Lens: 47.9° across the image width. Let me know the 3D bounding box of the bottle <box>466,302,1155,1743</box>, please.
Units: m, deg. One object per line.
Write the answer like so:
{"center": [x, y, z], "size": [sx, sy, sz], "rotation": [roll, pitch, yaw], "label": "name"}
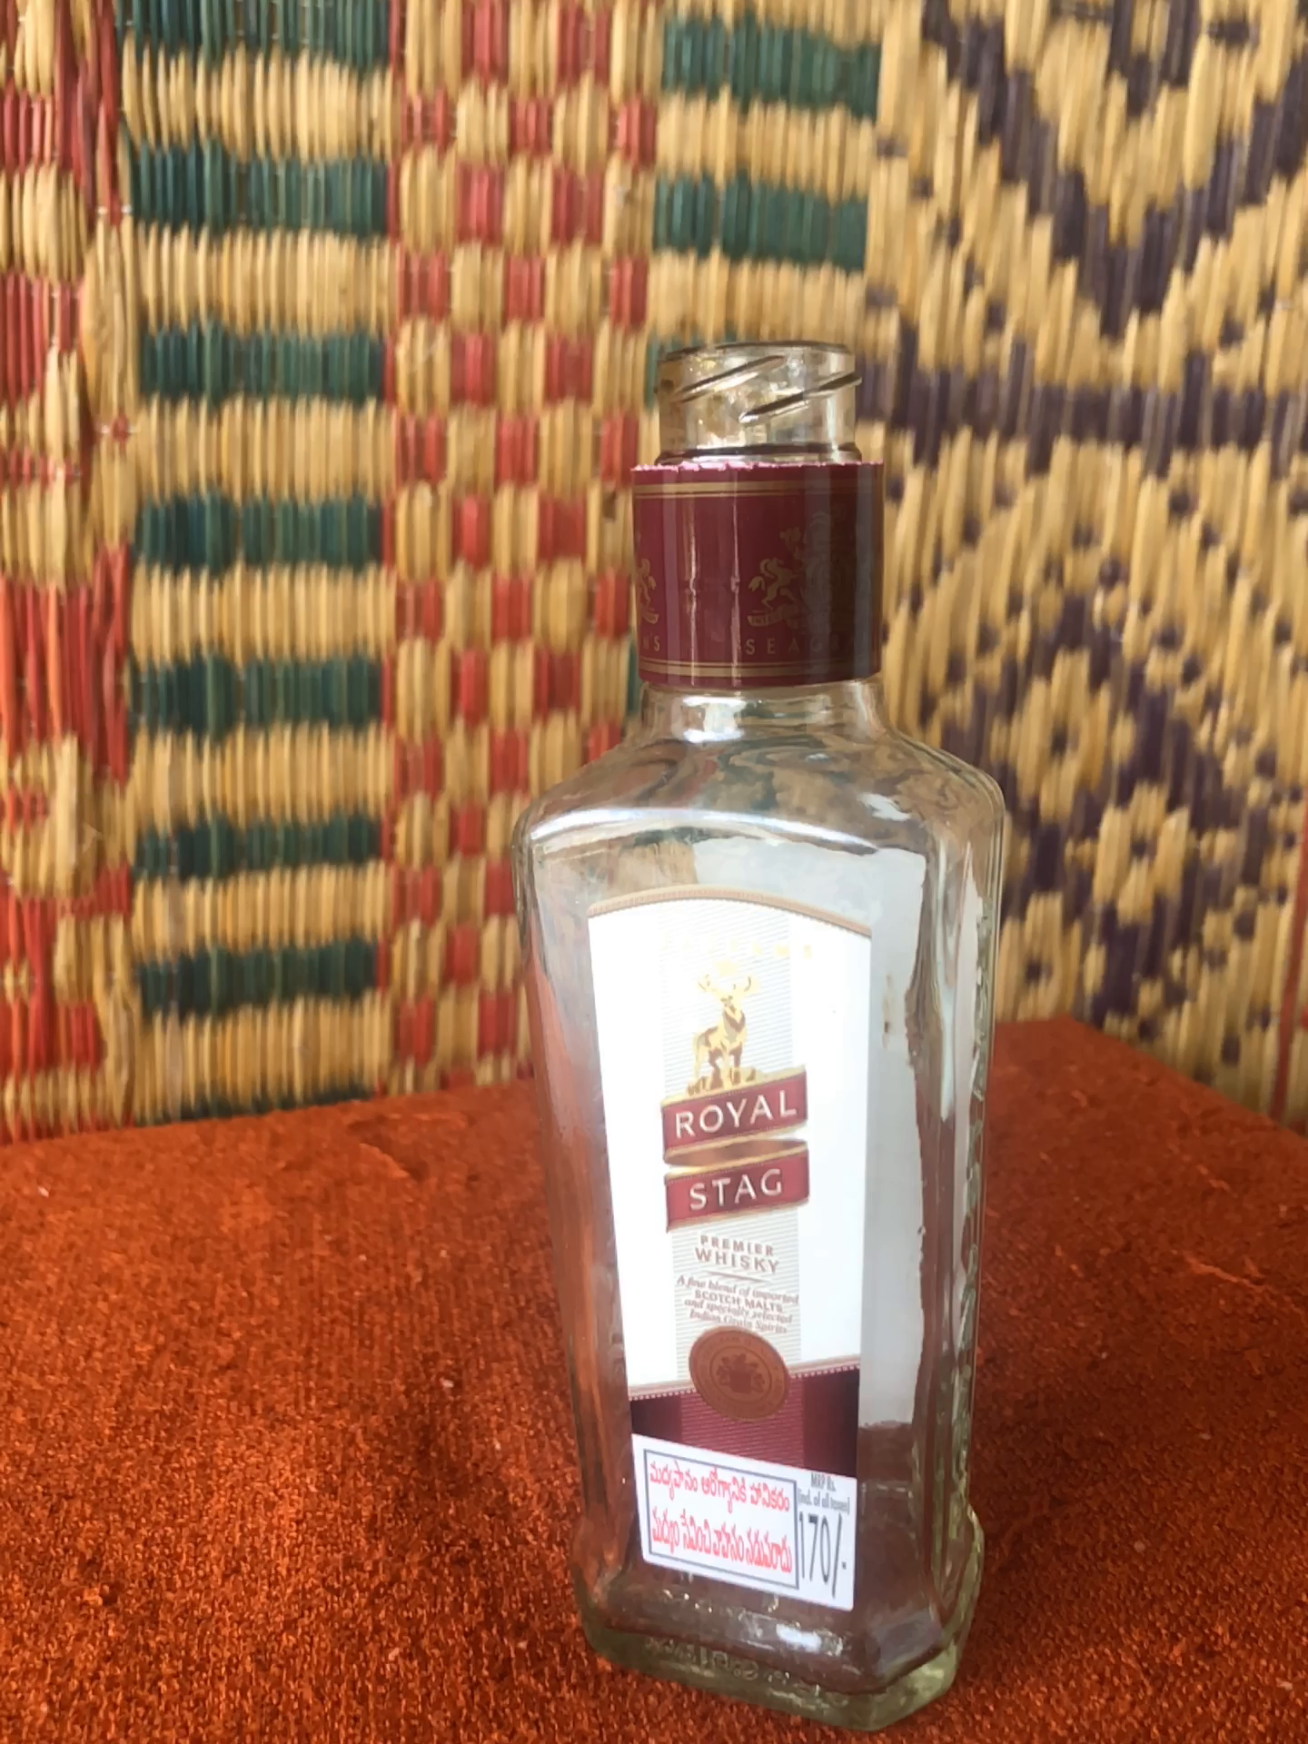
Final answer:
{"center": [0.021, 0.018, 0.181], "size": [0.060, 0.159, 0.060], "rotation": [0, 17, 0], "label": "bottle"}
